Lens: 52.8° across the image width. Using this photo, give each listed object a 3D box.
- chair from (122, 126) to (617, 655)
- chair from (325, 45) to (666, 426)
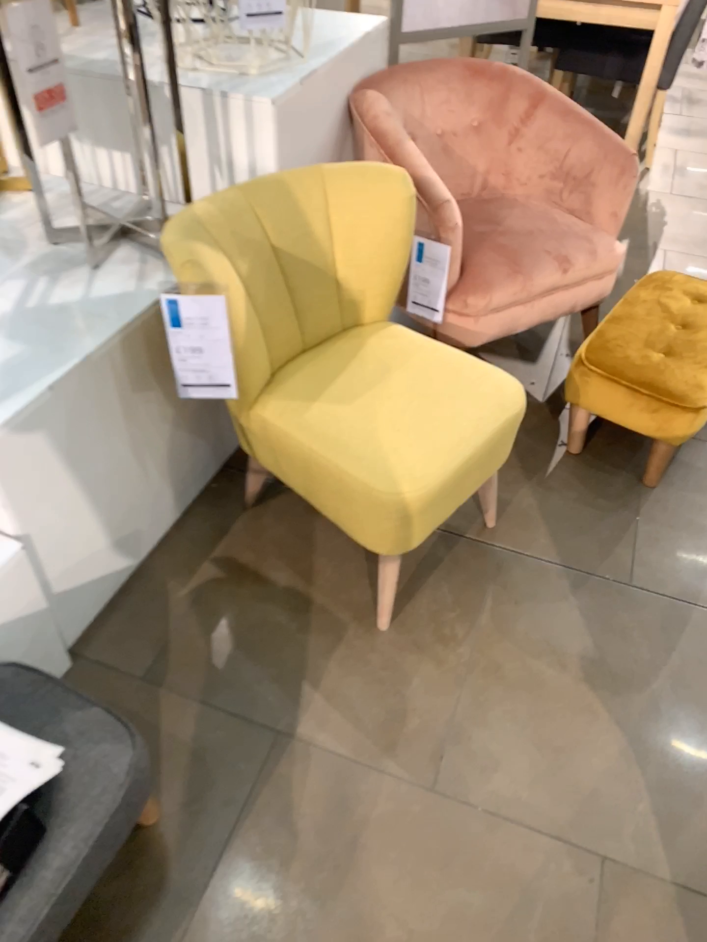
[{"bbox_3d":[0.030,-0.192,1.443,0.588,0.696,0.610,33,51,30],"label":"chair"},{"bbox_3d":[0.342,-0.692,2.048,0.619,0.765,0.590,-25,49,-25],"label":"chair"}]
